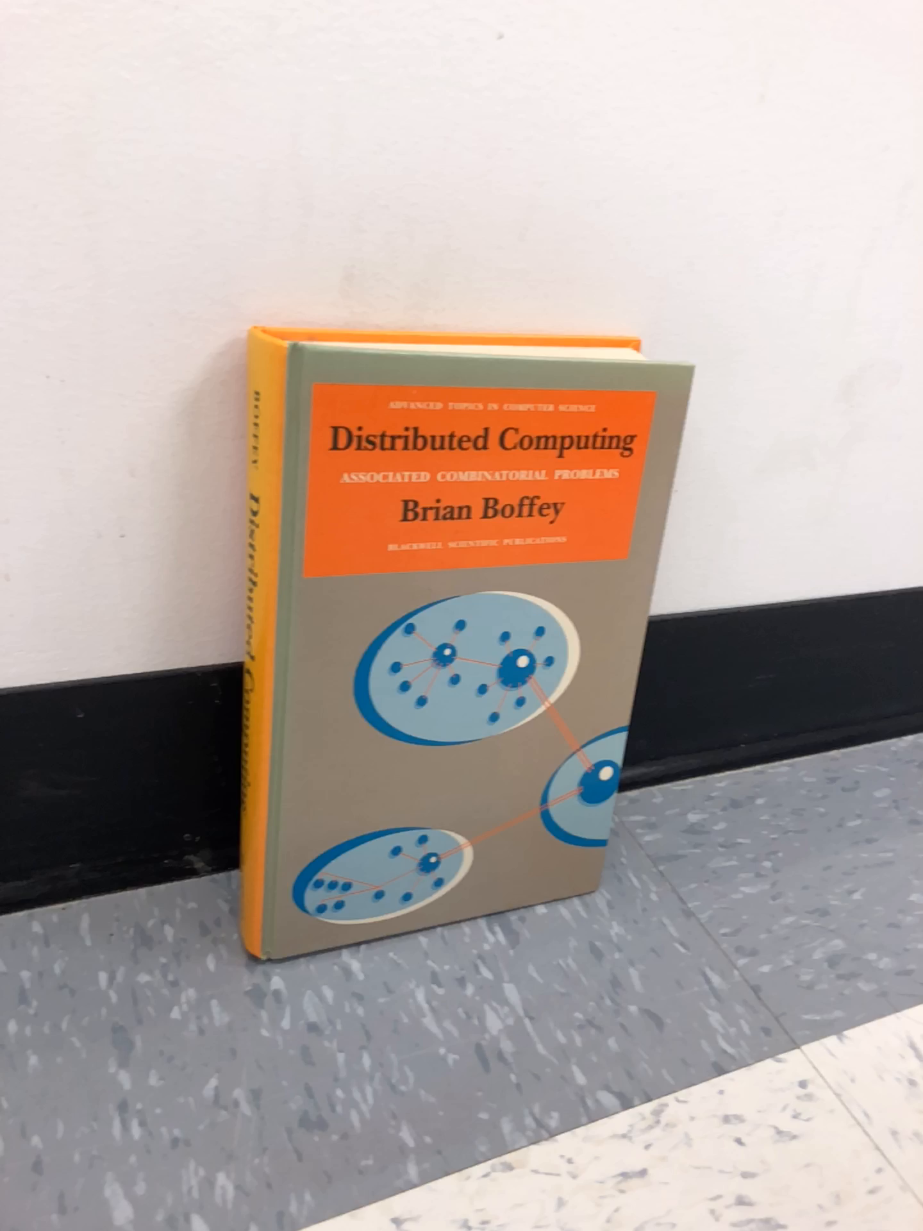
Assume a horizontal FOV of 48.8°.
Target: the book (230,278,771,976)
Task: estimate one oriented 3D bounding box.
[{"bbox_3d":[0.006,0.007,0.381,0.170,0.239,0.050,-5,26,-24],"label":"book"}]
